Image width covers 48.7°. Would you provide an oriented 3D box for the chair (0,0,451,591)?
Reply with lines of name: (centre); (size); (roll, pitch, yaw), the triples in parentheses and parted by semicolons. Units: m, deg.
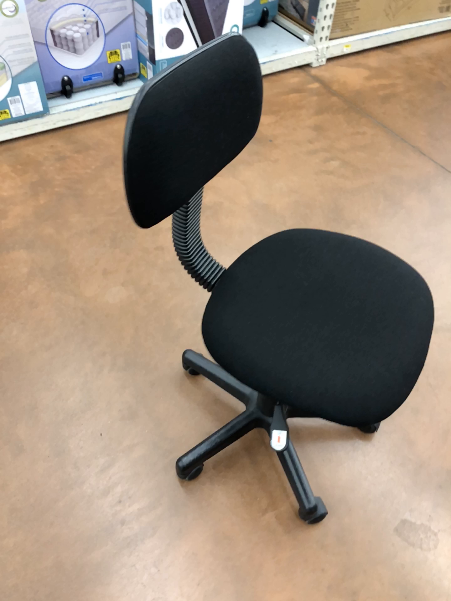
chair: (0.142, -0.038, 0.979); (0.660, 0.798, 0.672); (26, 52, 18)
